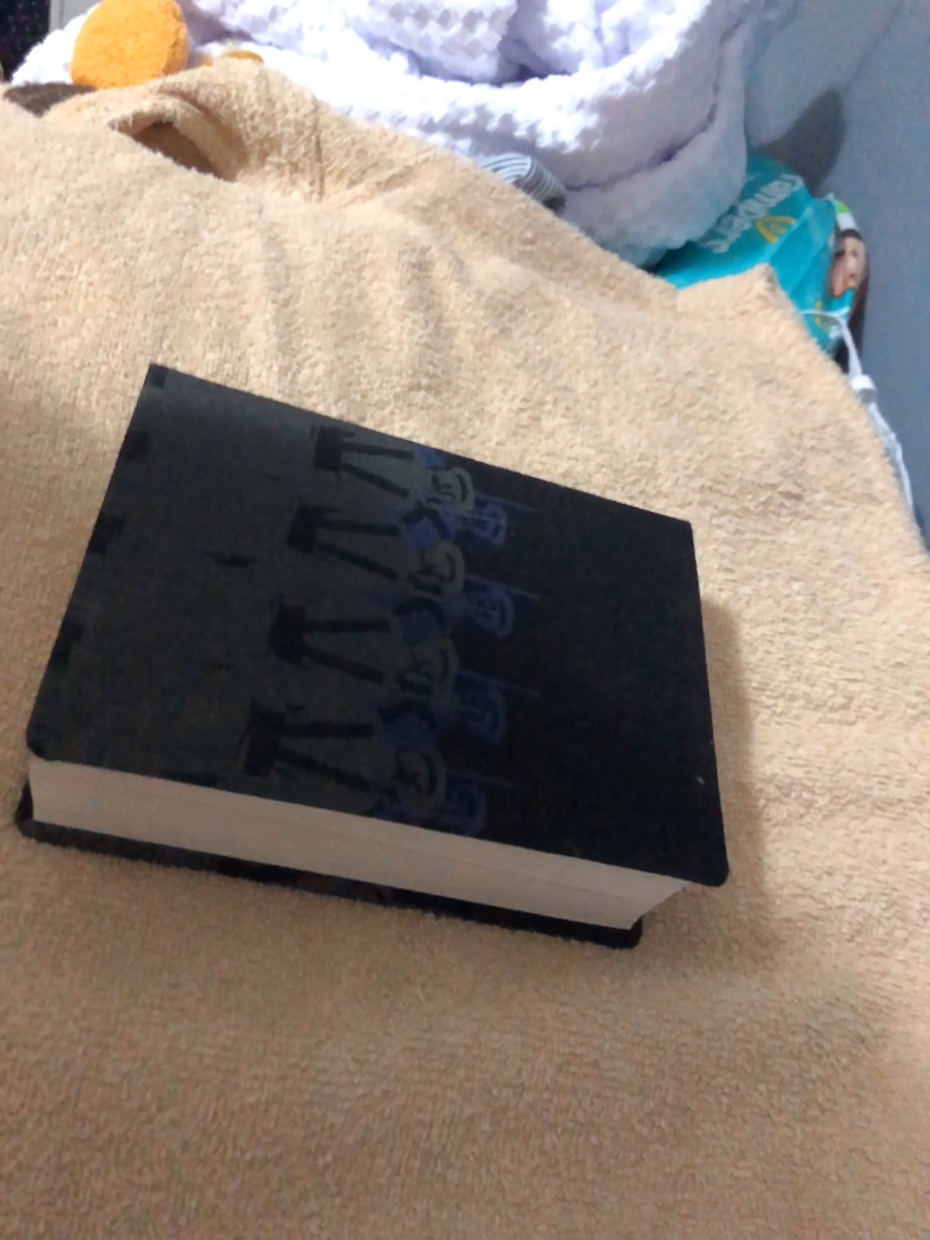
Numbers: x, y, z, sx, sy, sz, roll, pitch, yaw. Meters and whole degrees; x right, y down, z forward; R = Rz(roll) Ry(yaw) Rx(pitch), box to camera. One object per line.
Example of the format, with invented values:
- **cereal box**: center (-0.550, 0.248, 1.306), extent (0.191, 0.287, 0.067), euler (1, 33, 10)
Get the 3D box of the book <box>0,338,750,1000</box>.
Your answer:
- **book**: center (-0.024, 0.014, 0.290), extent (0.190, 0.050, 0.141), euler (15, 52, -15)
